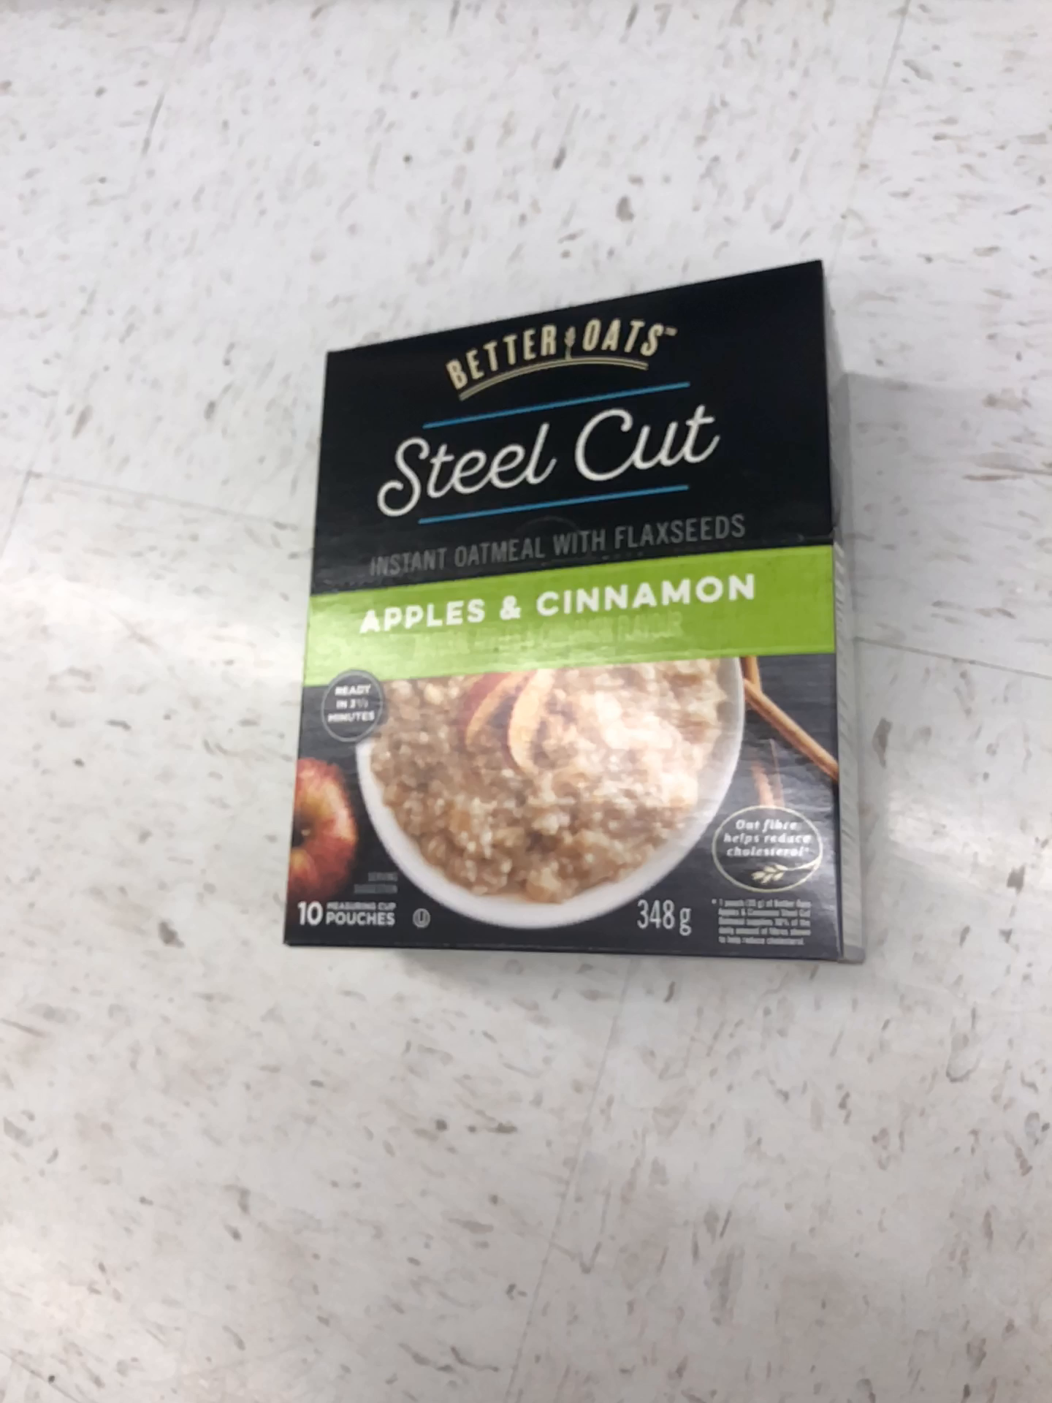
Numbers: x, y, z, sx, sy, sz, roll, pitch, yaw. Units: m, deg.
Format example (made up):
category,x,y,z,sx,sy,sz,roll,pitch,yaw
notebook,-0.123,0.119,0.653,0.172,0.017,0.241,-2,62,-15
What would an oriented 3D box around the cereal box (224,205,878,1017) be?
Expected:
category,x,y,z,sx,sy,sz,roll,pitch,yaw
cereal box,0.010,-0.017,0.339,0.160,0.070,0.200,-4,76,21
